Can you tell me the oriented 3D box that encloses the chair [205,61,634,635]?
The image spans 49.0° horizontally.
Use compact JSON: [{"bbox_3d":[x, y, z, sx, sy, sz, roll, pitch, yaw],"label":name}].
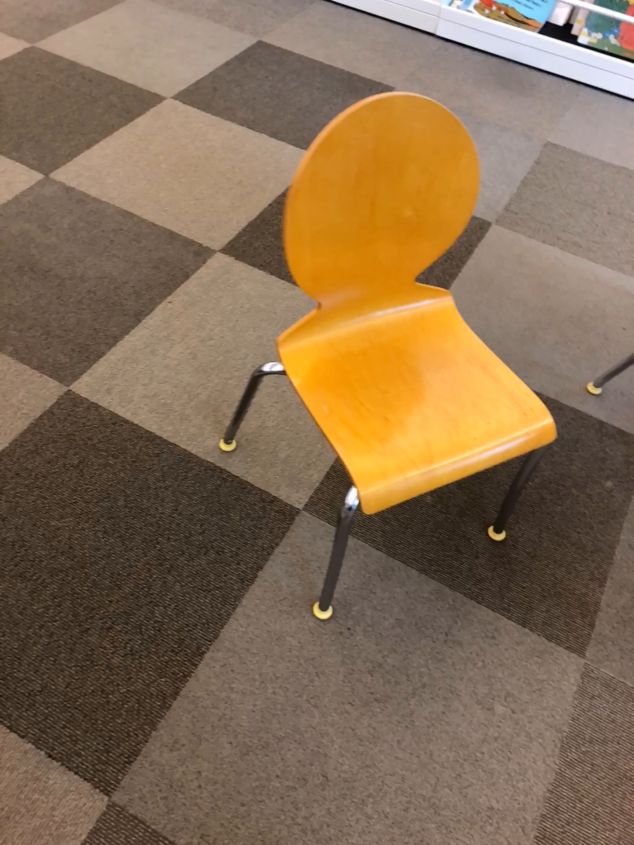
[{"bbox_3d":[0.130,-0.094,1.144,0.466,0.723,0.471,-18,55,-21],"label":"chair"}]
